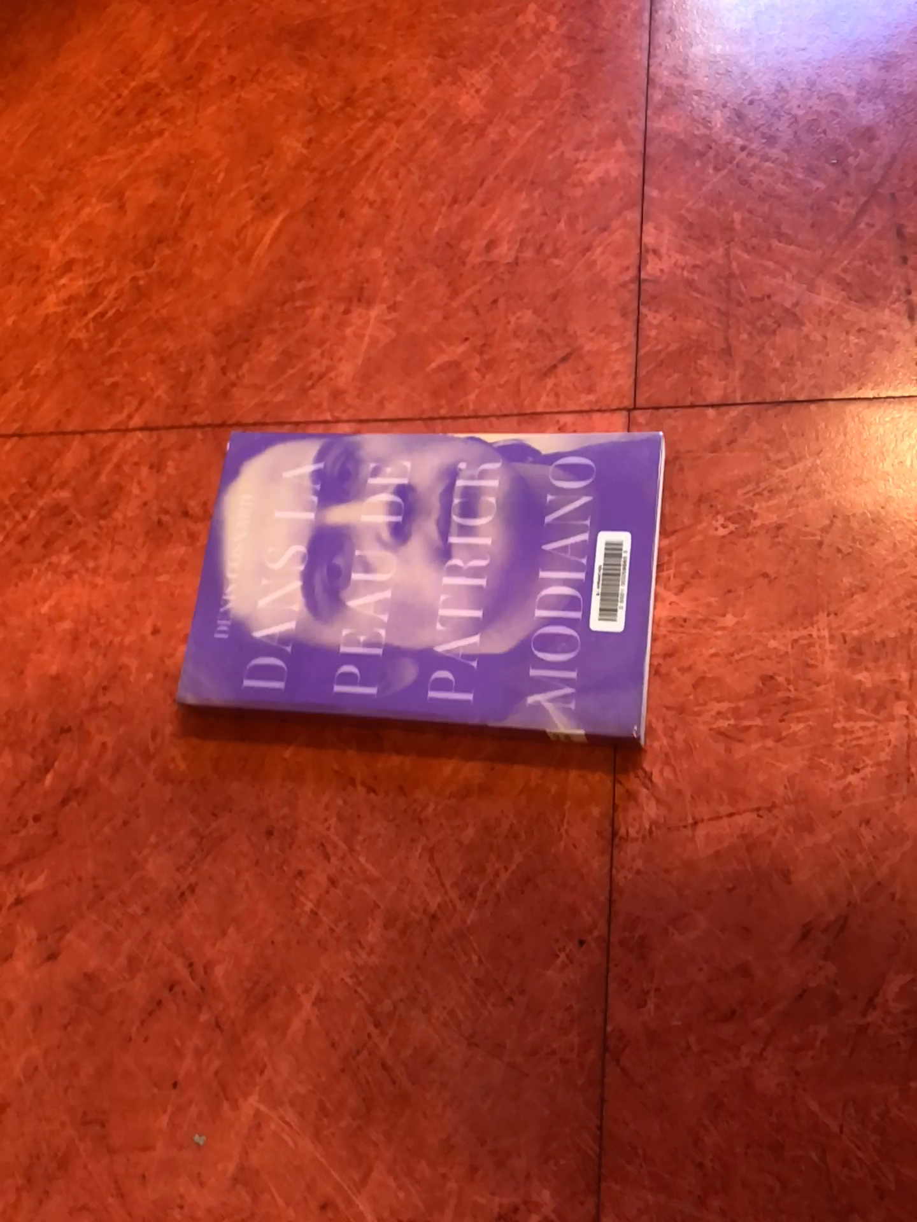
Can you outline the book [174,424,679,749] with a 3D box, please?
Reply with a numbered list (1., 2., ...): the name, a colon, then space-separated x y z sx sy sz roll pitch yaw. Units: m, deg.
1. book: -0.014 -0.018 0.500 0.232 0.030 0.150 3 71 15
